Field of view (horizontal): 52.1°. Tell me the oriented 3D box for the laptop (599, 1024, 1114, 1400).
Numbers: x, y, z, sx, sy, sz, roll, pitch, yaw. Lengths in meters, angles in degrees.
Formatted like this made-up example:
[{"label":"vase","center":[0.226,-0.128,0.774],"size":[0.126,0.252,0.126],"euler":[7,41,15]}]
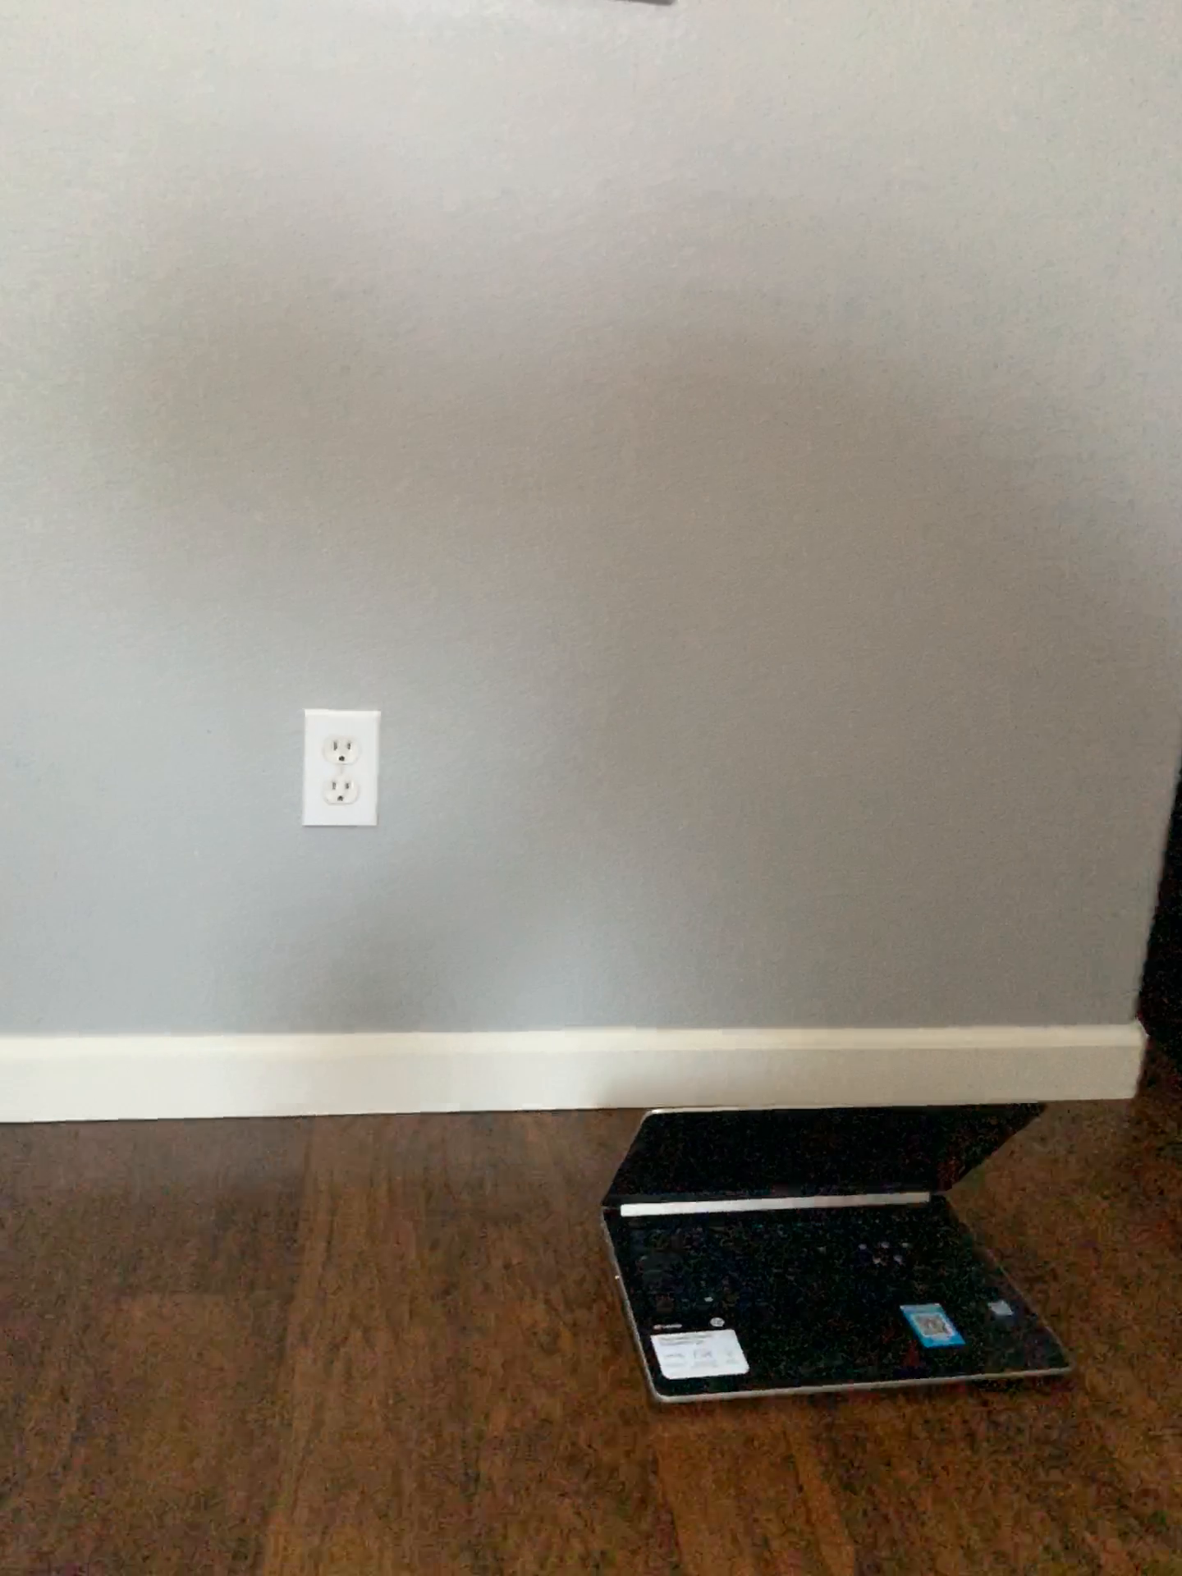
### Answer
[{"label":"laptop","center":[0.190,0.317,0.954],"size":[0.317,0.169,0.220],"euler":[1,14,-11]}]
